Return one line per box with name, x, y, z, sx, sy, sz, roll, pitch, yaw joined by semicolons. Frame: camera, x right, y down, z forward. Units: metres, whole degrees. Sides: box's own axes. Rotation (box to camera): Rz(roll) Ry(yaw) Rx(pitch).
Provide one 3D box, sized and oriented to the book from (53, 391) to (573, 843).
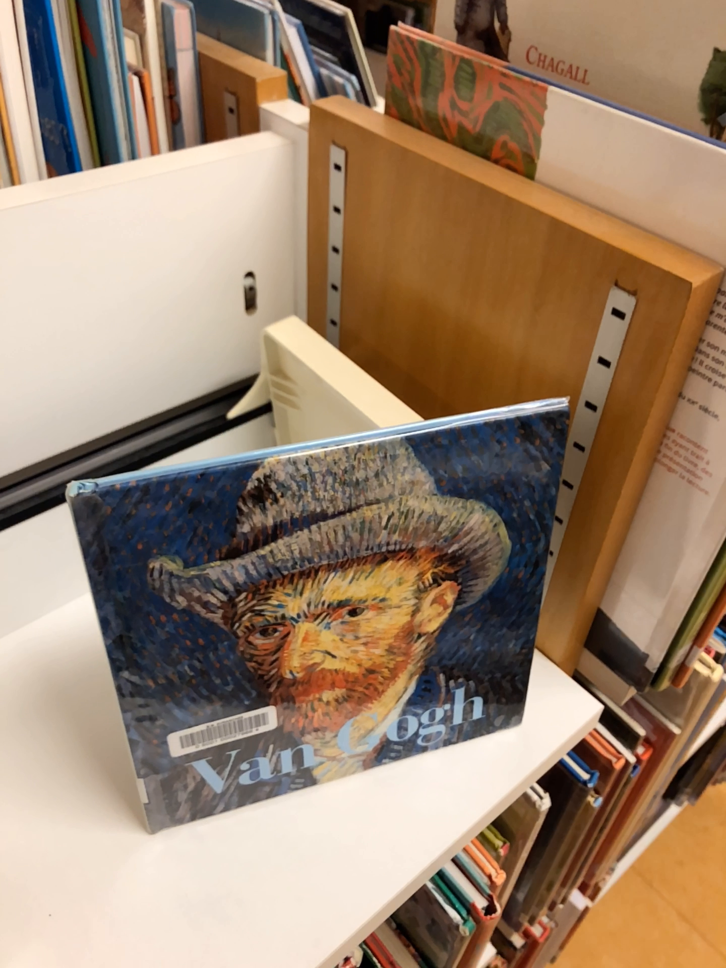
book;-0.011;0.065;0.358;0.200;0.197;0.013;-11;34;-15
